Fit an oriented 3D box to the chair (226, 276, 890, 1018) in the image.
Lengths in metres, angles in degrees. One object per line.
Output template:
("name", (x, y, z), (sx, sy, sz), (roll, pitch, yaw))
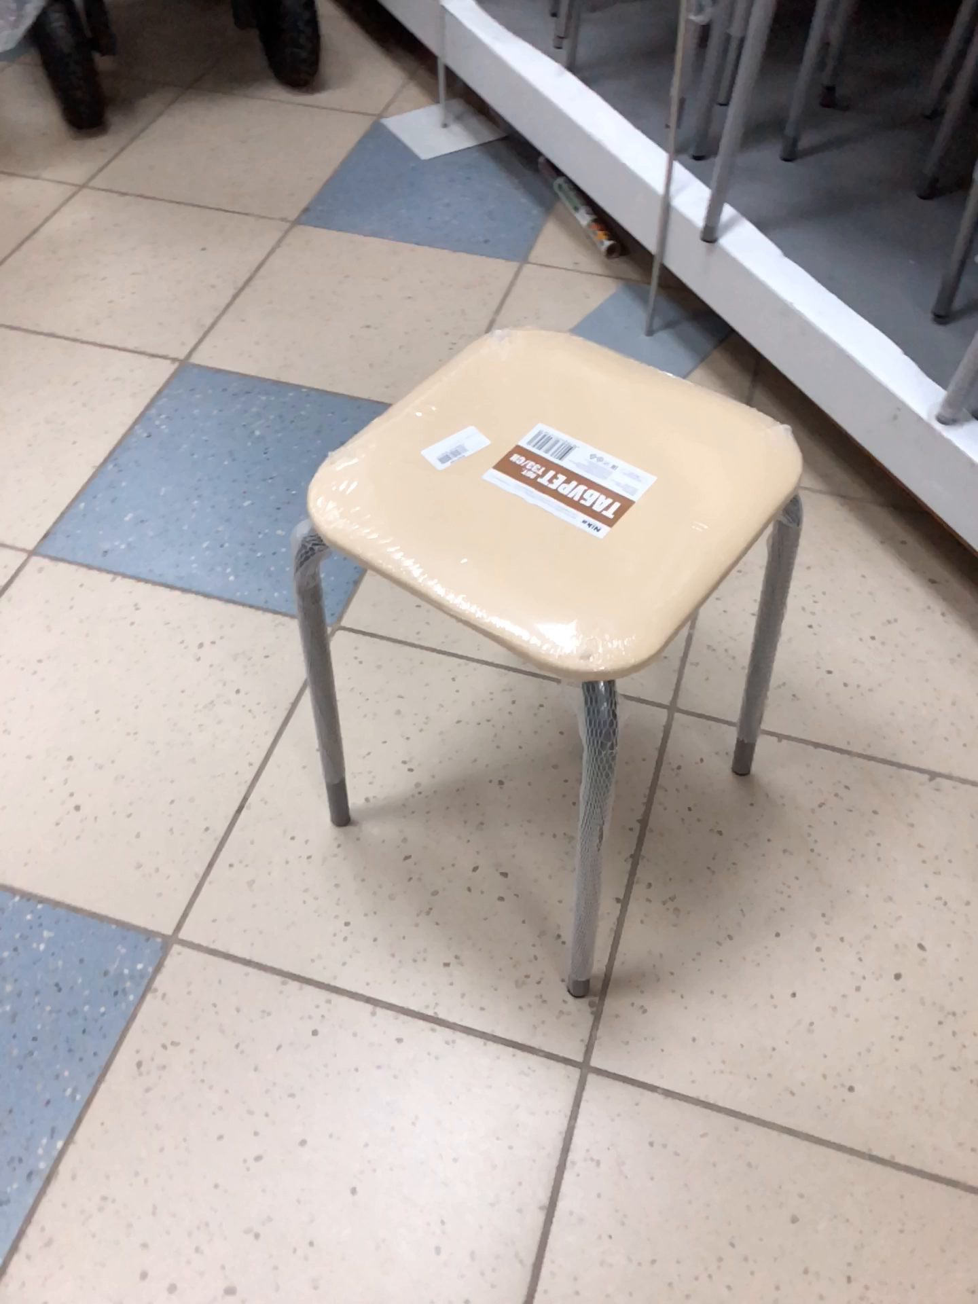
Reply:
("chair", (0.051, 0.005, 0.906), (0.341, 0.437, 0.311), (32, 58, 23))
